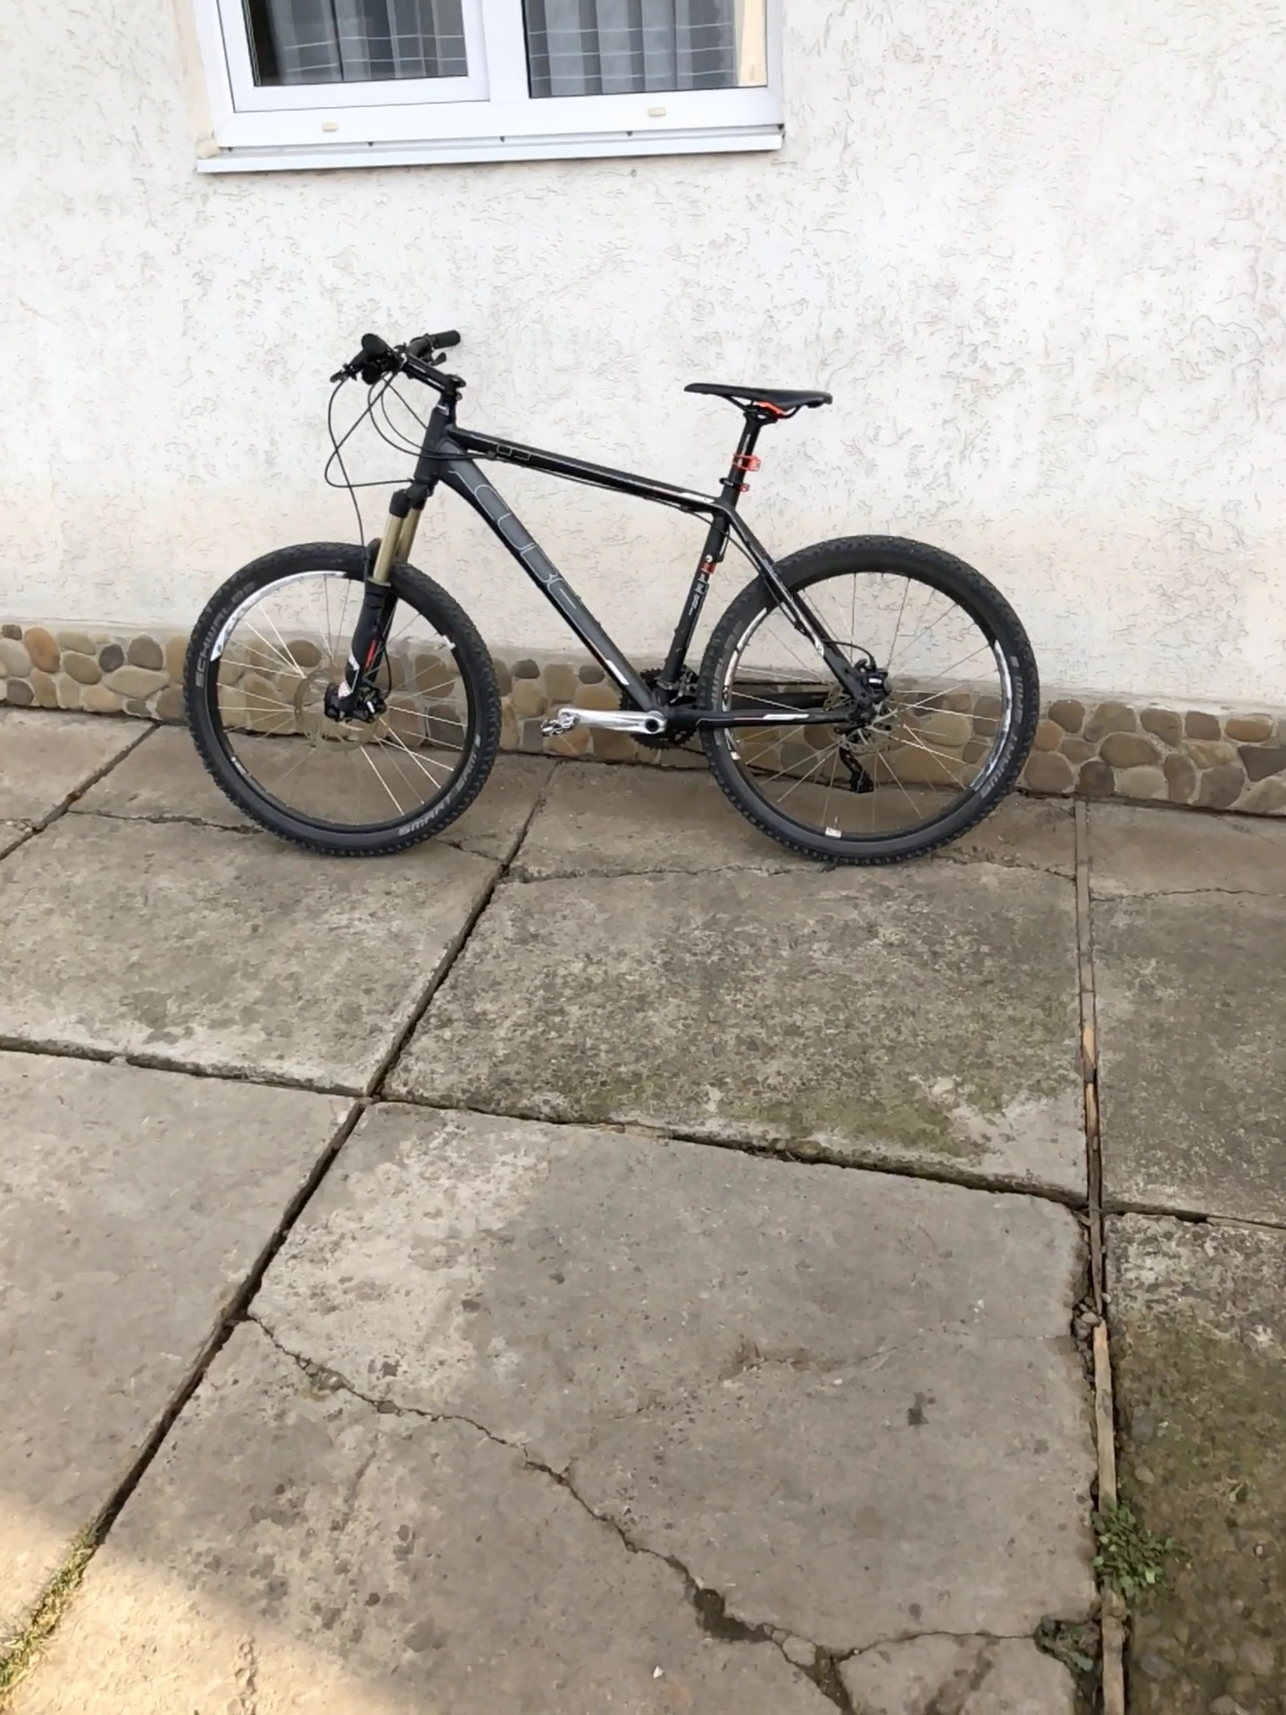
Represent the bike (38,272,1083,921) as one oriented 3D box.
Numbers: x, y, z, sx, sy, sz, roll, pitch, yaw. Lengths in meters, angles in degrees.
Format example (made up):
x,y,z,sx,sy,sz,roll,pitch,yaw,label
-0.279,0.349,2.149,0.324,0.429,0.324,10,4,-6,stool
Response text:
x,y,z,sx,sy,sz,roll,pitch,yaw,label
-0.101,-0.572,2.906,1.772,1.090,0.691,3,30,8,bike
